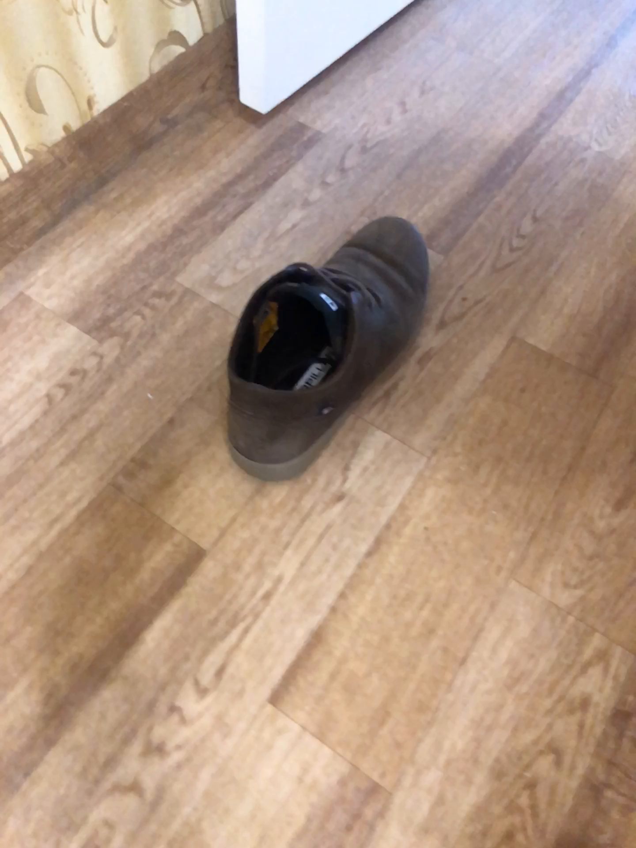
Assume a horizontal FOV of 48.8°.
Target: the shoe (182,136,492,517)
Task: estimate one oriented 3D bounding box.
[{"bbox_3d":[0.022,-0.082,0.536,0.100,0.110,0.271,27,61,12],"label":"shoe"}]
